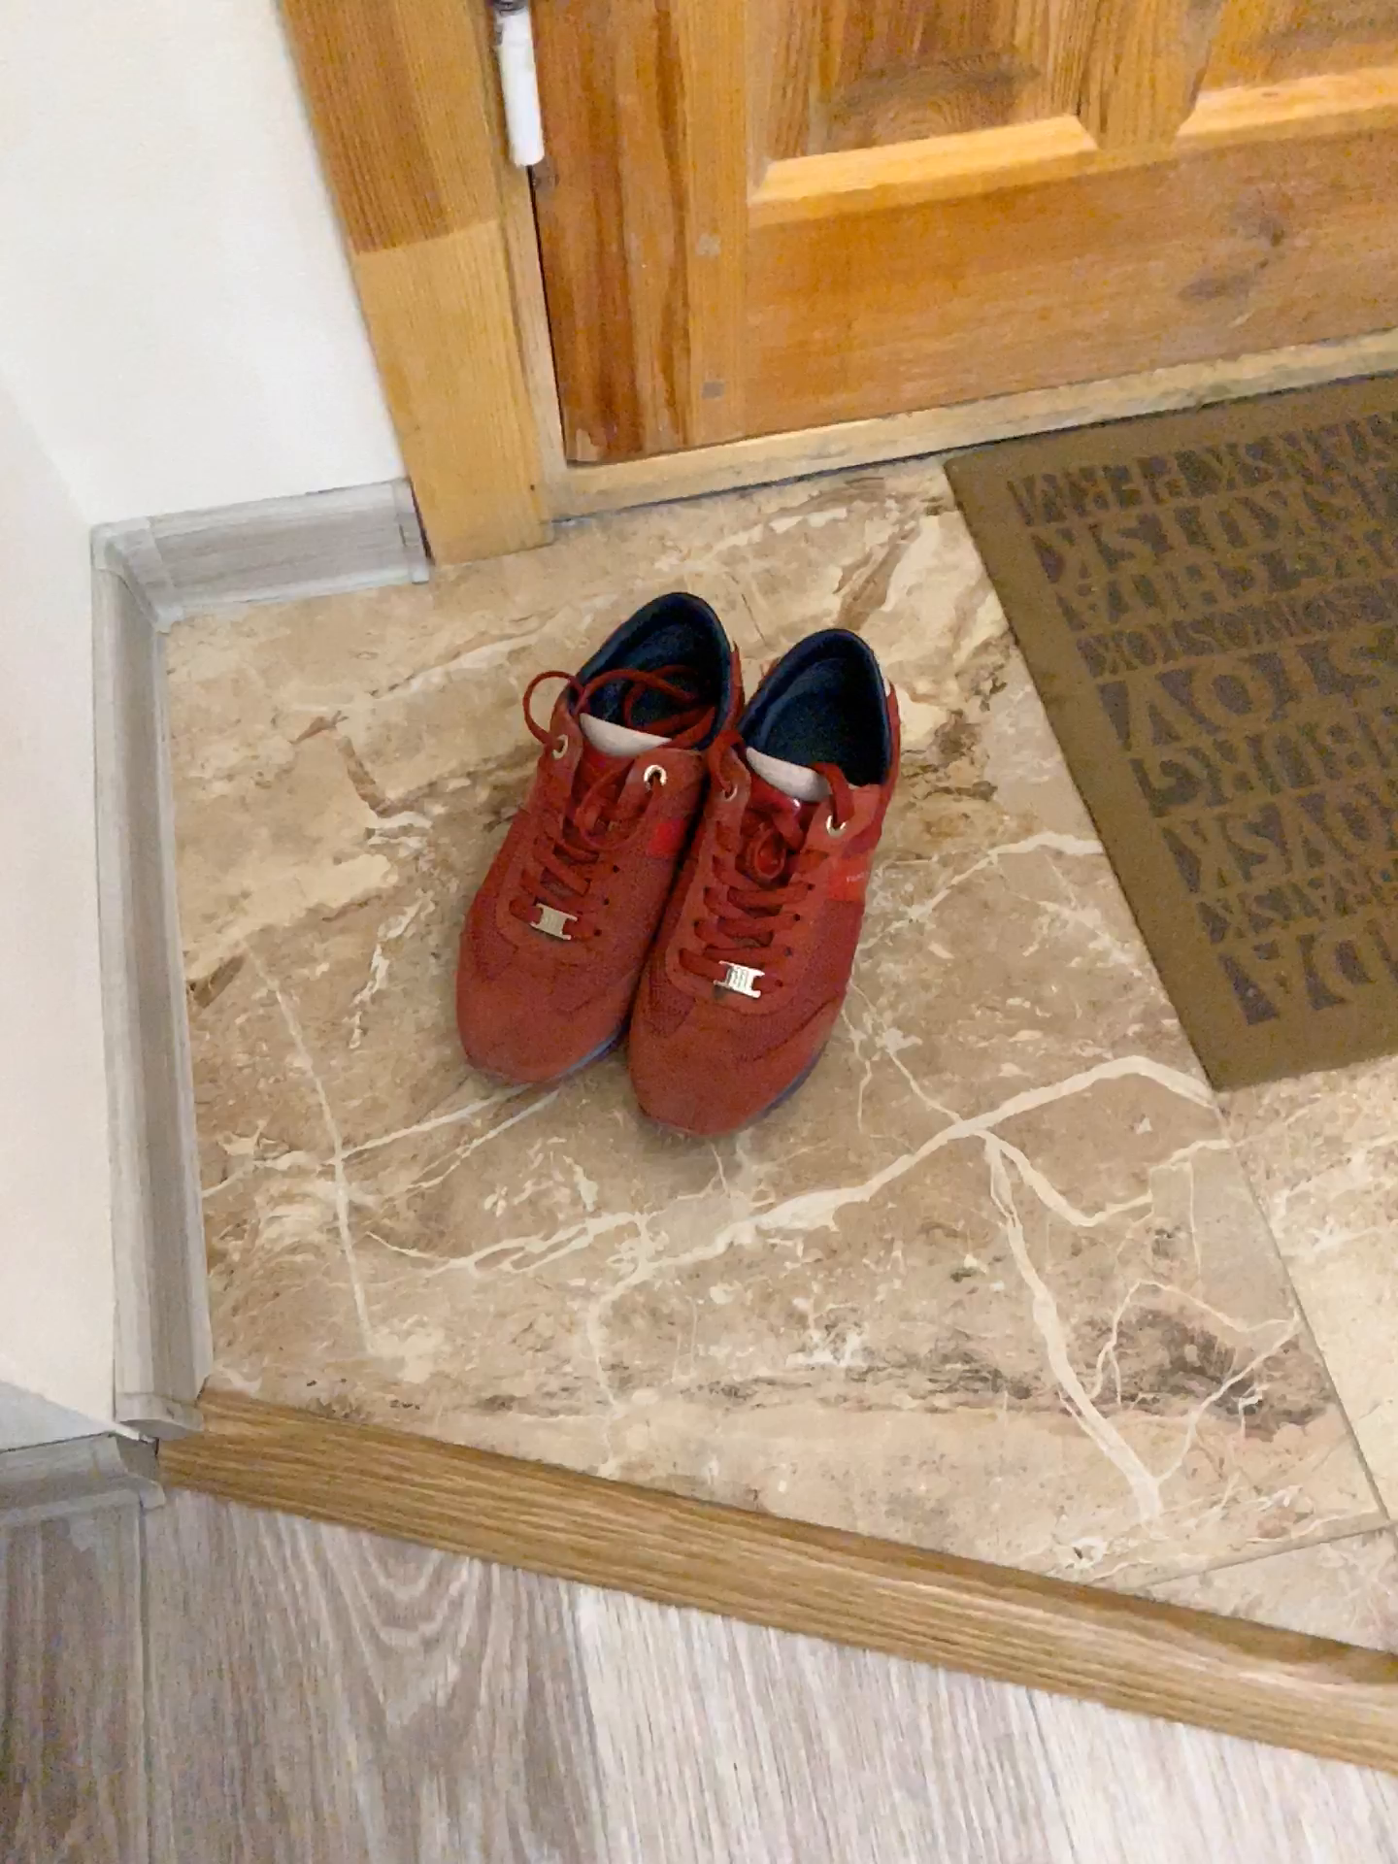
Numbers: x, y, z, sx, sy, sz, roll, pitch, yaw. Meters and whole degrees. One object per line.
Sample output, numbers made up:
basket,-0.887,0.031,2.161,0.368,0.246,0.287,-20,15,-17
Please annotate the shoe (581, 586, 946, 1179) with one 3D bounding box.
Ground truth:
shoe,0.034,-0.027,0.645,0.090,0.090,0.241,15,63,9

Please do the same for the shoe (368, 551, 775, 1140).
shoe,-0.047,-0.043,0.648,0.090,0.090,0.241,17,63,10
